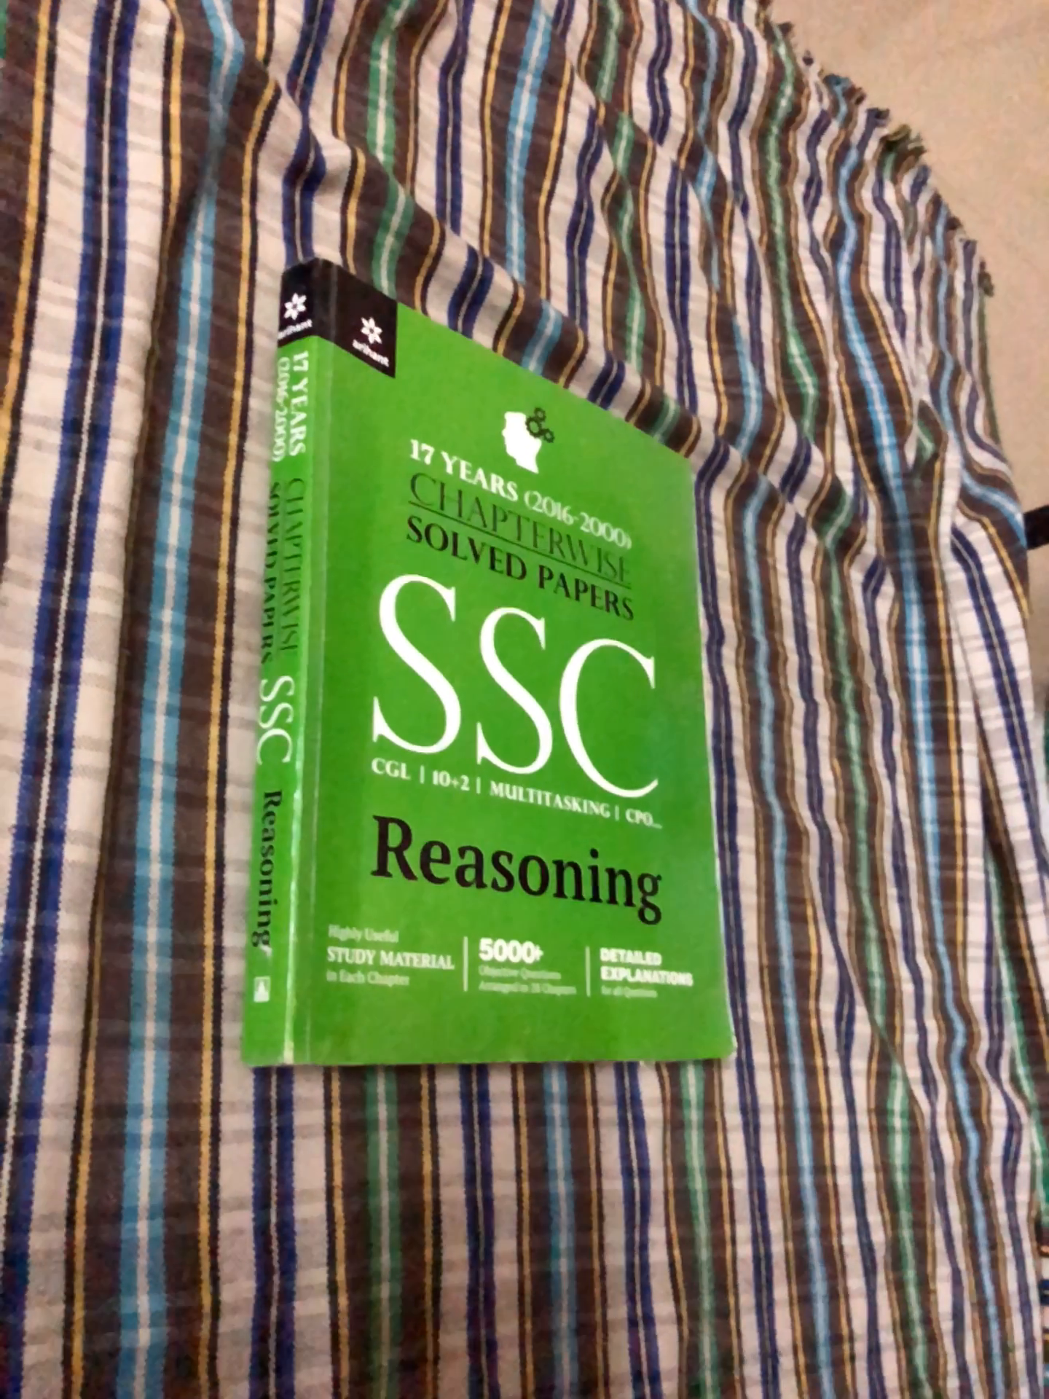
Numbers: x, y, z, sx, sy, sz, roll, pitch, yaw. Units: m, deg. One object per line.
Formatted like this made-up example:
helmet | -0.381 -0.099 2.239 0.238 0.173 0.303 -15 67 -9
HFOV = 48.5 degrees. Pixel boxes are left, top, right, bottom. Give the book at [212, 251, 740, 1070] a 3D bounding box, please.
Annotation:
book | -0.006 -0.001 0.446 0.211 0.040 0.270 16 66 -42
